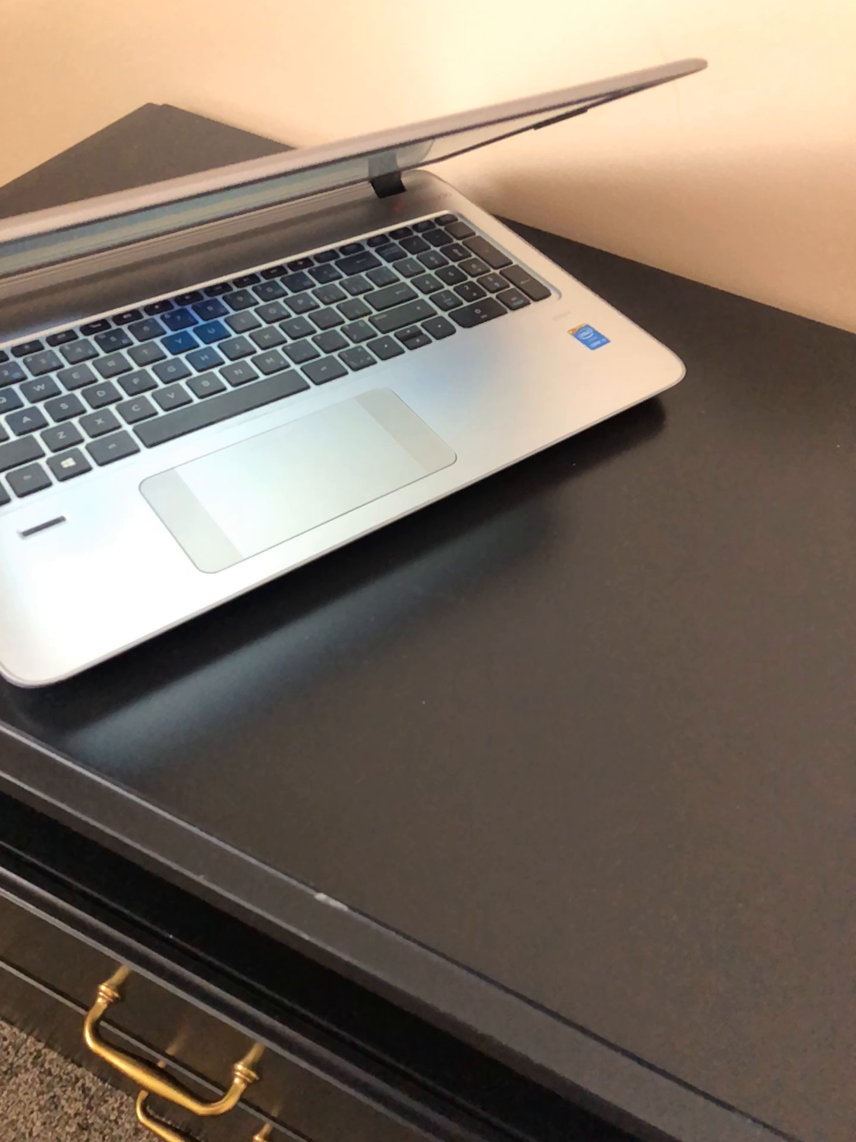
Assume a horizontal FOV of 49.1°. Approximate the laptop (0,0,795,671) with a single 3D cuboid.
[{"bbox_3d":[-0.068,-0.155,0.424,0.355,0.153,0.228,-27,58,-27],"label":"laptop"}]
